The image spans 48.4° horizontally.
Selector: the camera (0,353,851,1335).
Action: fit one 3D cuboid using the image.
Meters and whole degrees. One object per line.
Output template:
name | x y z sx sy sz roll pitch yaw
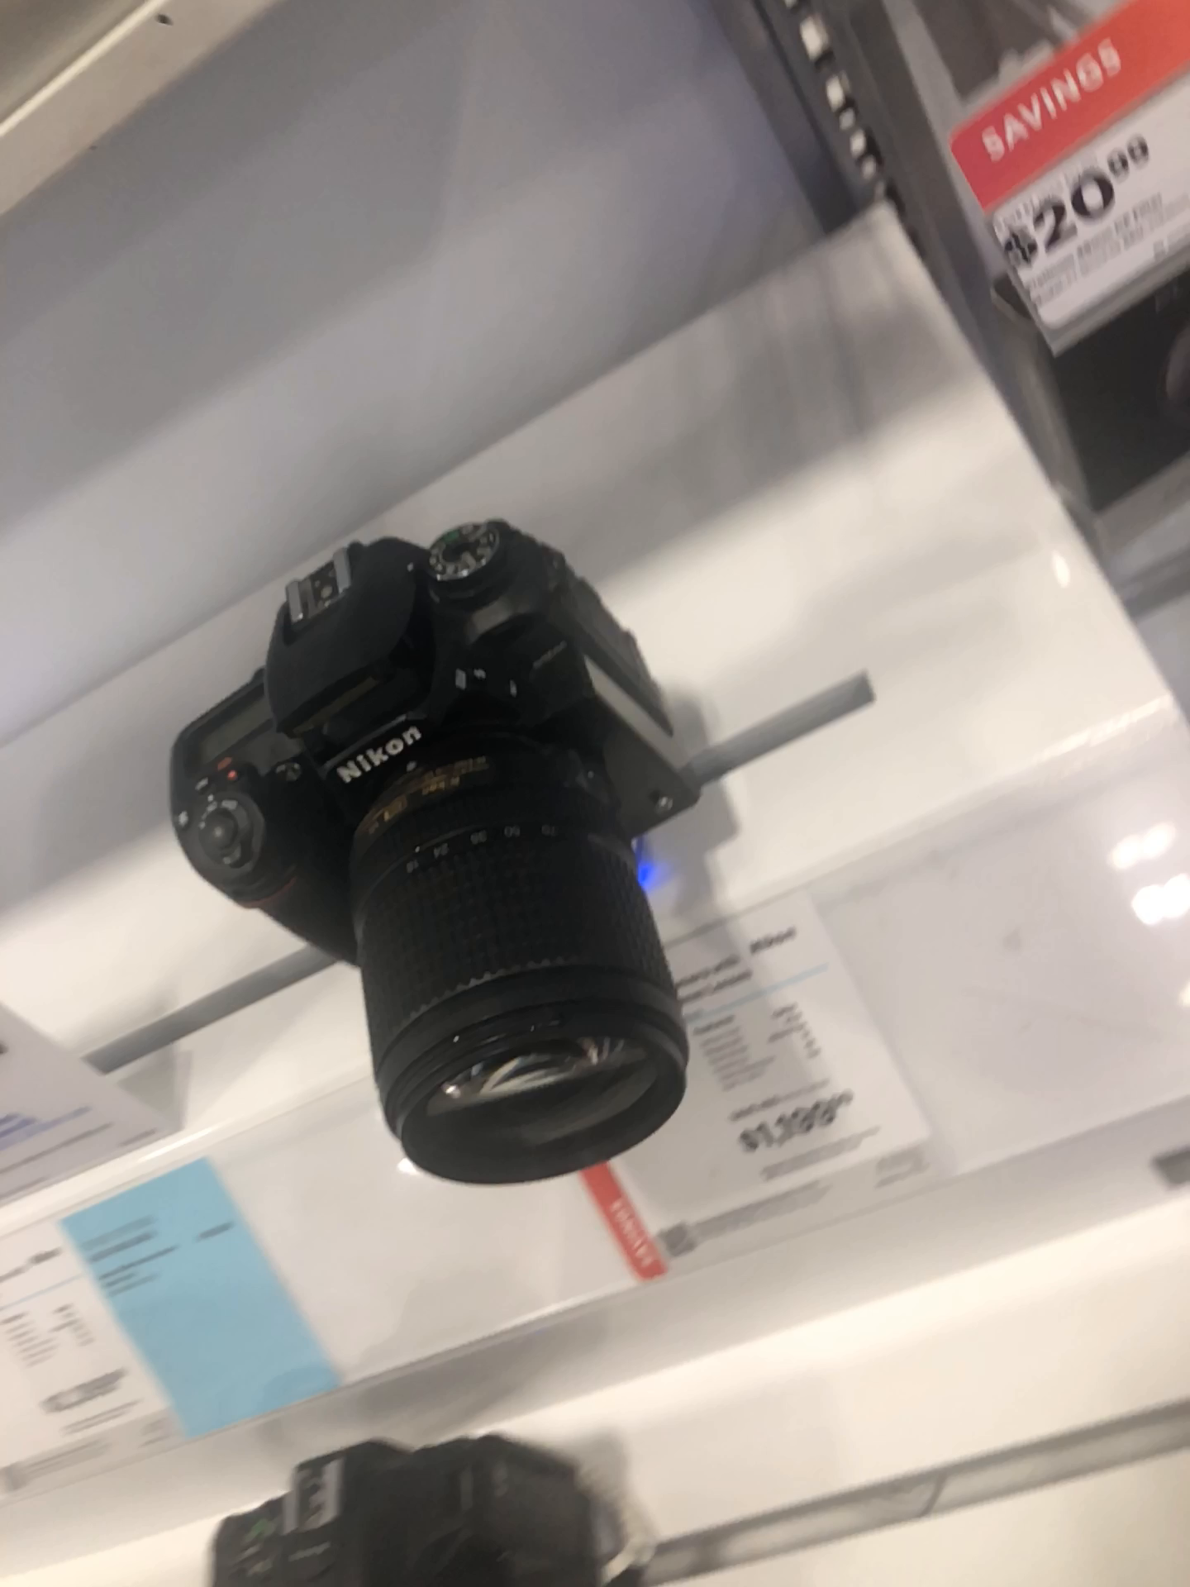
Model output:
camera | -0.050 0.013 0.363 0.150 0.119 0.190 -30 46 16
